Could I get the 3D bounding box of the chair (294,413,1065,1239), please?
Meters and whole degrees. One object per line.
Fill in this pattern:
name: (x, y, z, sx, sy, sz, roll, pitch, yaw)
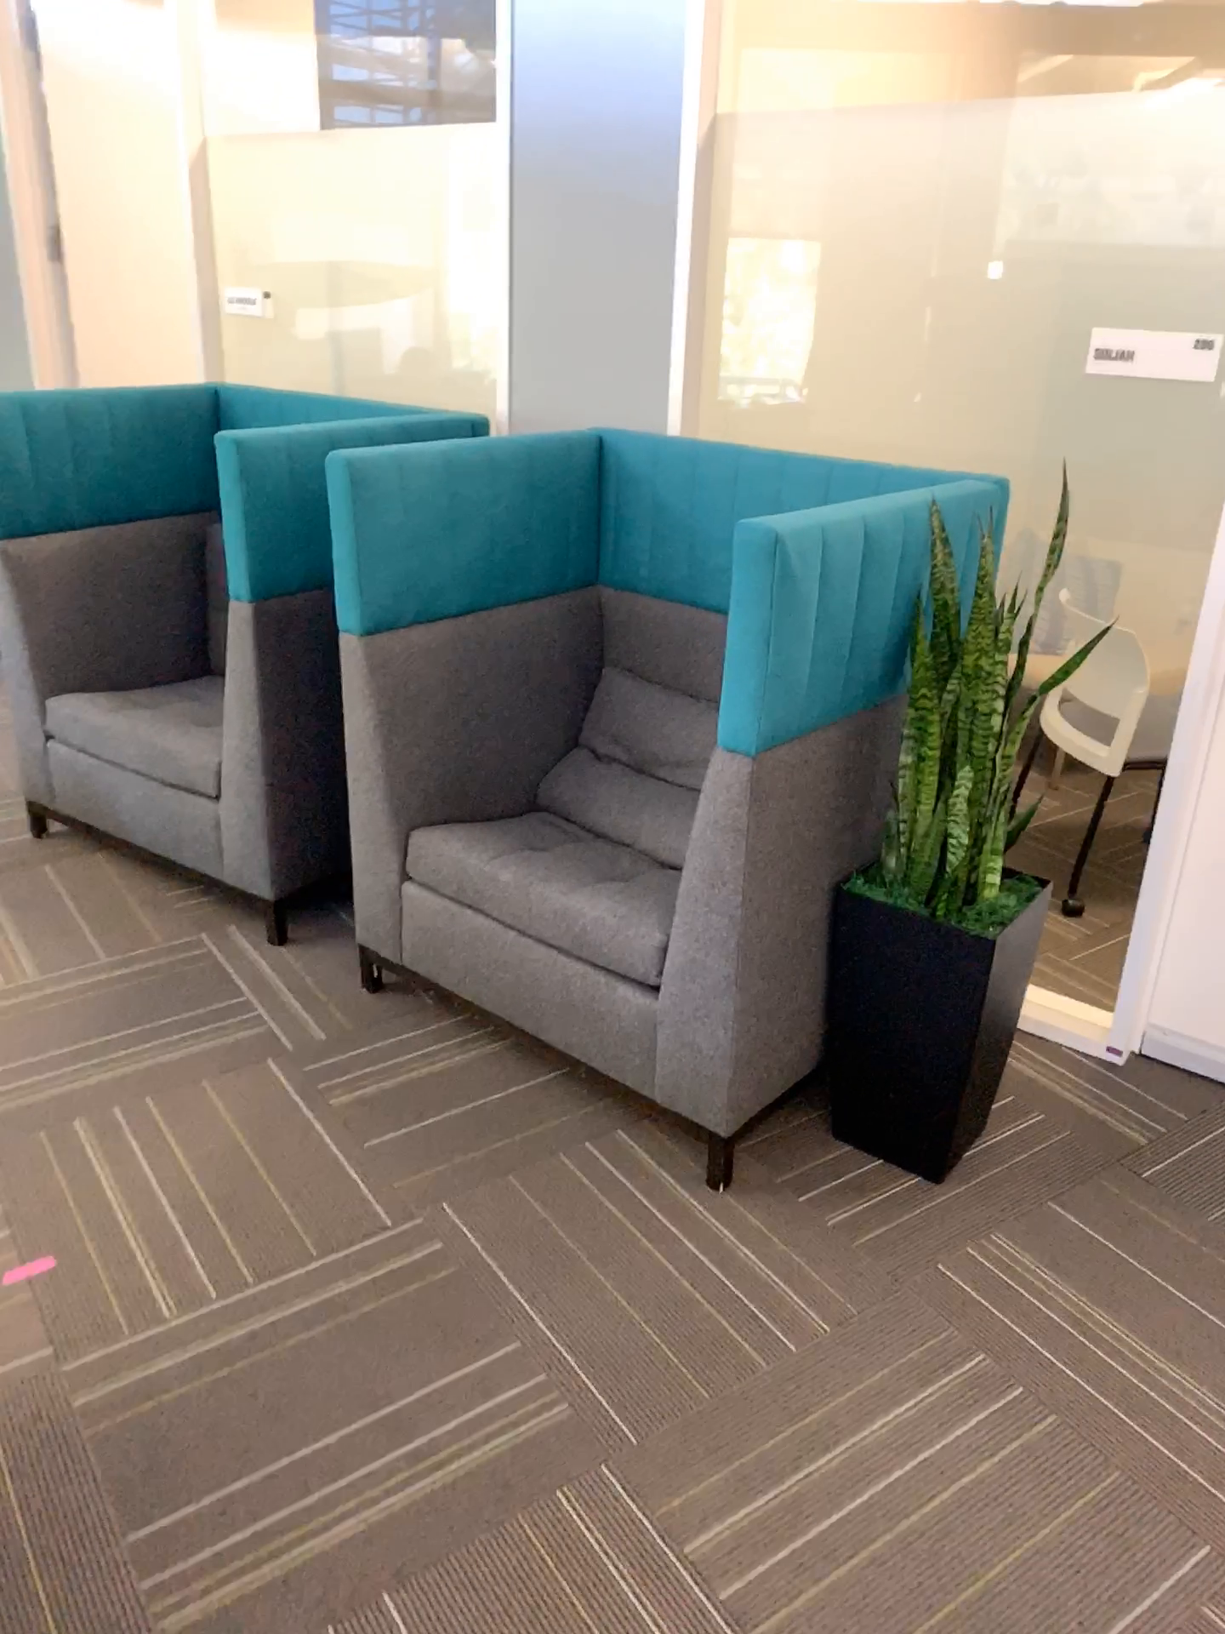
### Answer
chair: (0.119, -0.124, 2.581, 1.054, 1.214, 1.011, 20, 29, 36)
